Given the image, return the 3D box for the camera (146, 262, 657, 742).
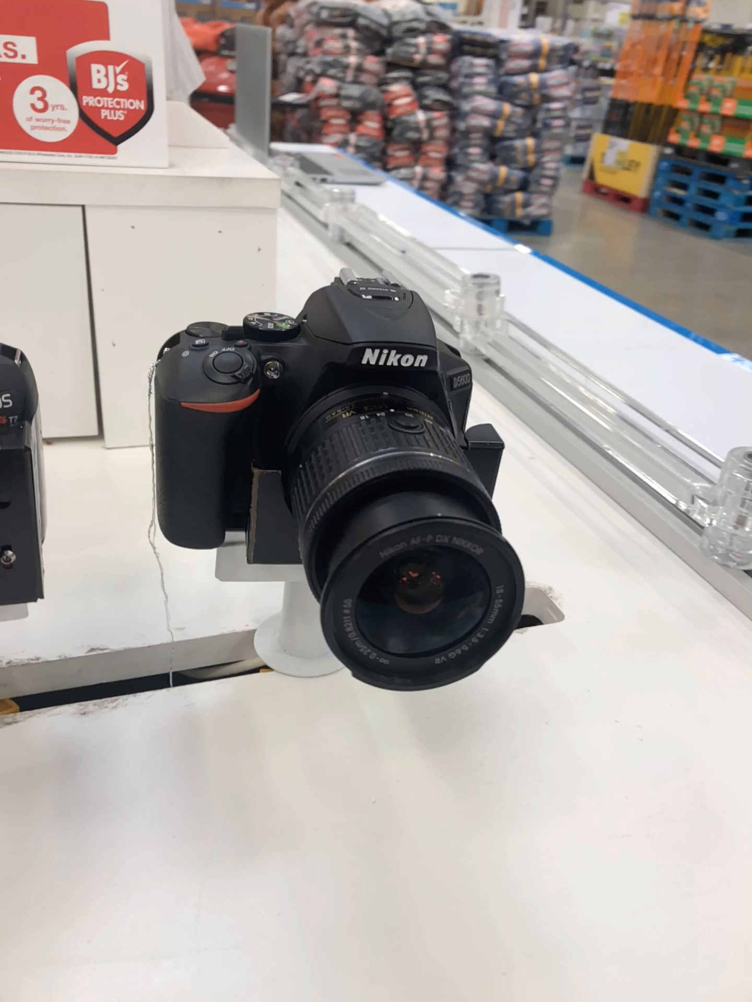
[{"bbox_3d":[-0.010,-0.015,0.280,0.120,0.089,0.151,-3,30,-17],"label":"camera"}]
